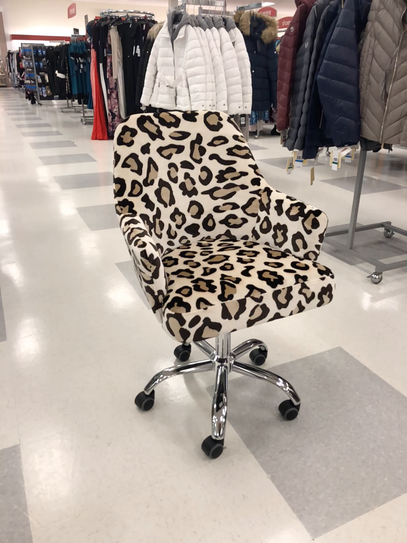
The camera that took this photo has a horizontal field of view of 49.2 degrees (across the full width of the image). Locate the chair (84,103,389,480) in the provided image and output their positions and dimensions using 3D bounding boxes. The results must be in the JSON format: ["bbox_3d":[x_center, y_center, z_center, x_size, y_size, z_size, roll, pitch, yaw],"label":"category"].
[{"bbox_3d":[0.046,-0.017,1.358,0.600,0.888,0.581,-11,26,-25],"label":"chair"}]
